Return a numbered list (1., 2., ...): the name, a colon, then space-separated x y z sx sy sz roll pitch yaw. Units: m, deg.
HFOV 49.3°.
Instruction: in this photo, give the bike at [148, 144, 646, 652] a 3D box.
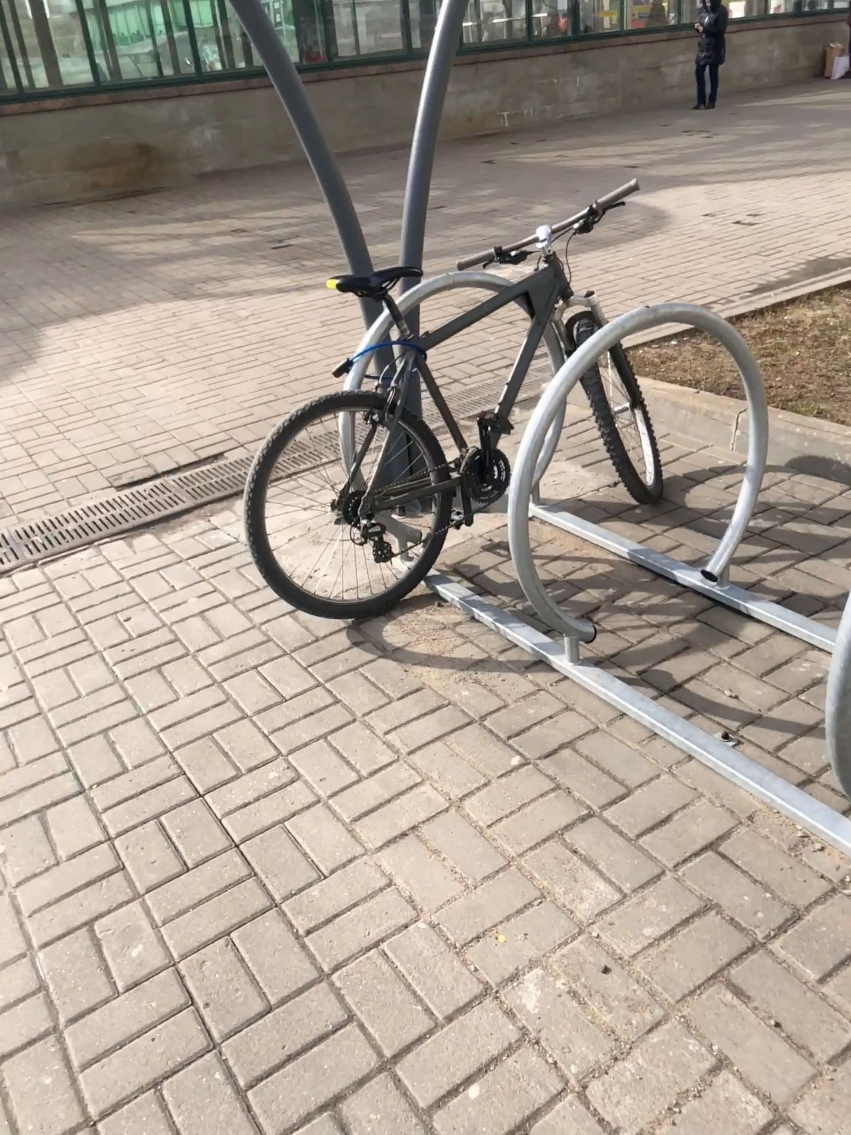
1. bike: 0.025 -0.657 2.926 1.615 0.979 0.563 -30 37 -34
